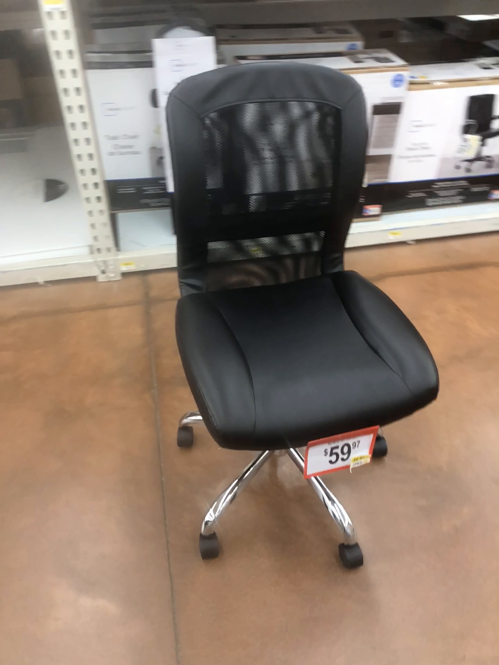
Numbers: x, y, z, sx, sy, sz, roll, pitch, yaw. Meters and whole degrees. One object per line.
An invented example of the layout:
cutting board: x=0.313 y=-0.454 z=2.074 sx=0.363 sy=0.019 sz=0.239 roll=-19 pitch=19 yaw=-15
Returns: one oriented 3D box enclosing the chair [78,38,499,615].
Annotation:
chair: x=0.094 y=-0.029 z=1.081 sx=0.680 sy=0.817 sz=0.652 roll=-9 pitch=42 yaw=-10
